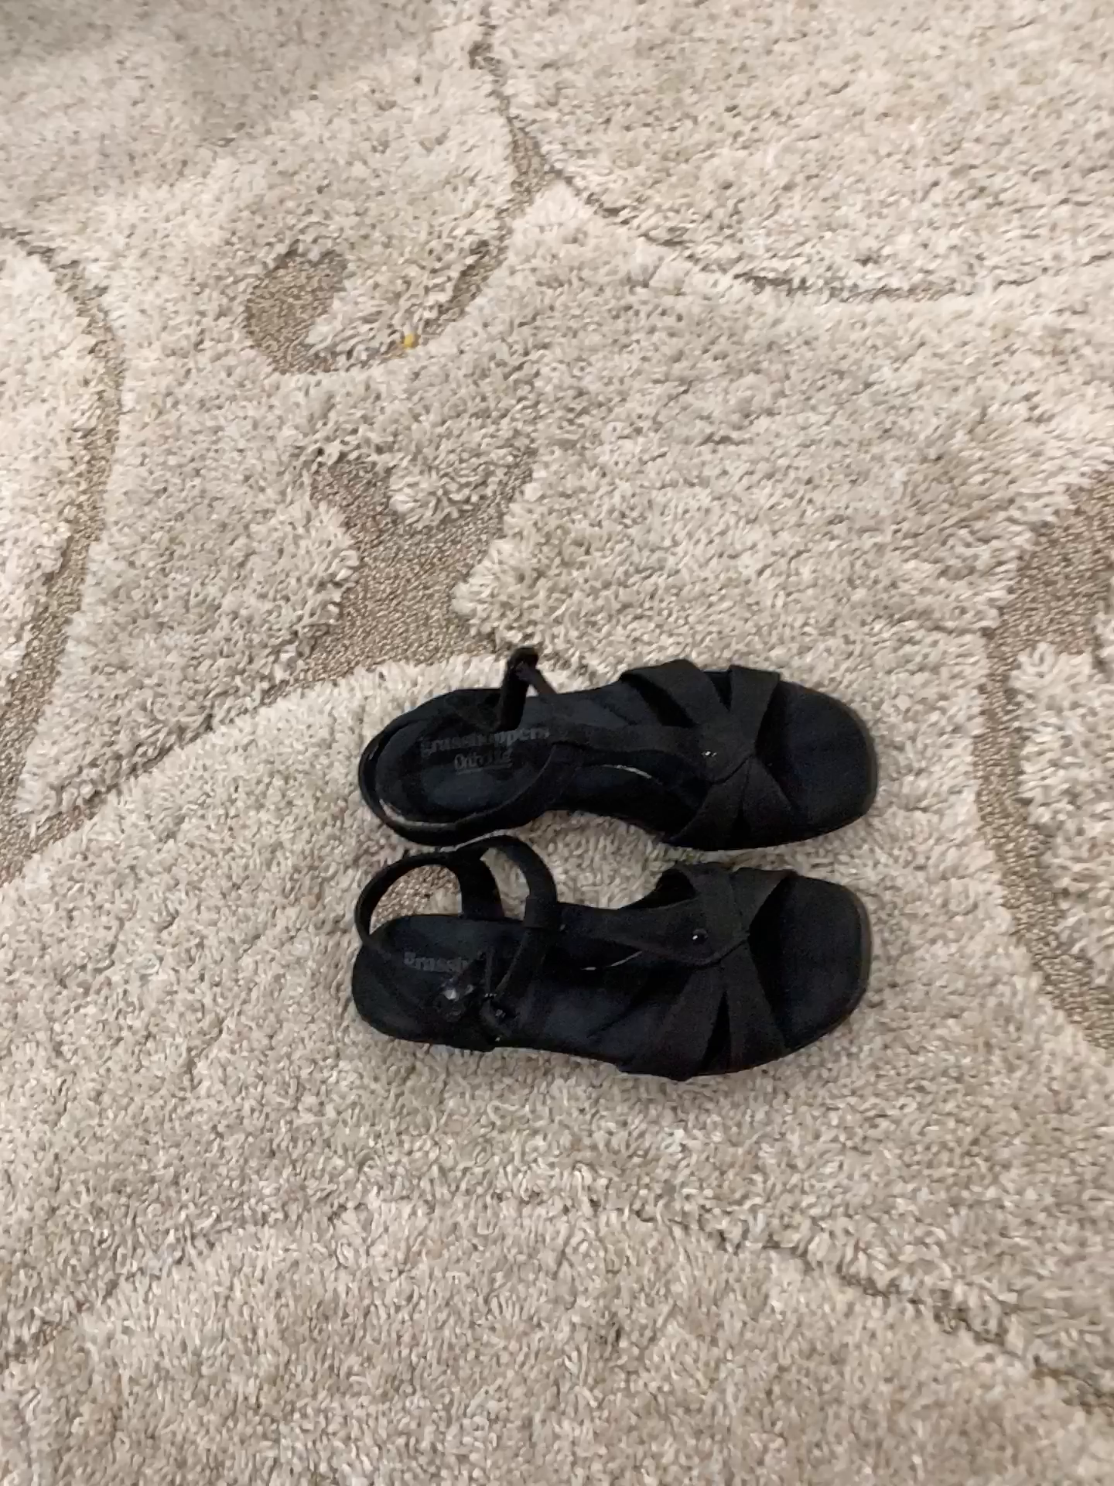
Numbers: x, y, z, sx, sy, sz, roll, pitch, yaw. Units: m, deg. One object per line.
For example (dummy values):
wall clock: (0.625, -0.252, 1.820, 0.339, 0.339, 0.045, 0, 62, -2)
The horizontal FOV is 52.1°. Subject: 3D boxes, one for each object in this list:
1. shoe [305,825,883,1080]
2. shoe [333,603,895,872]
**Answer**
shoe: (0.016, 0.095, 0.508, 0.241, 0.060, 0.100, -3, 73, 14)
shoe: (0.025, 0.003, 0.523, 0.241, 0.060, 0.100, -3, 73, 14)
